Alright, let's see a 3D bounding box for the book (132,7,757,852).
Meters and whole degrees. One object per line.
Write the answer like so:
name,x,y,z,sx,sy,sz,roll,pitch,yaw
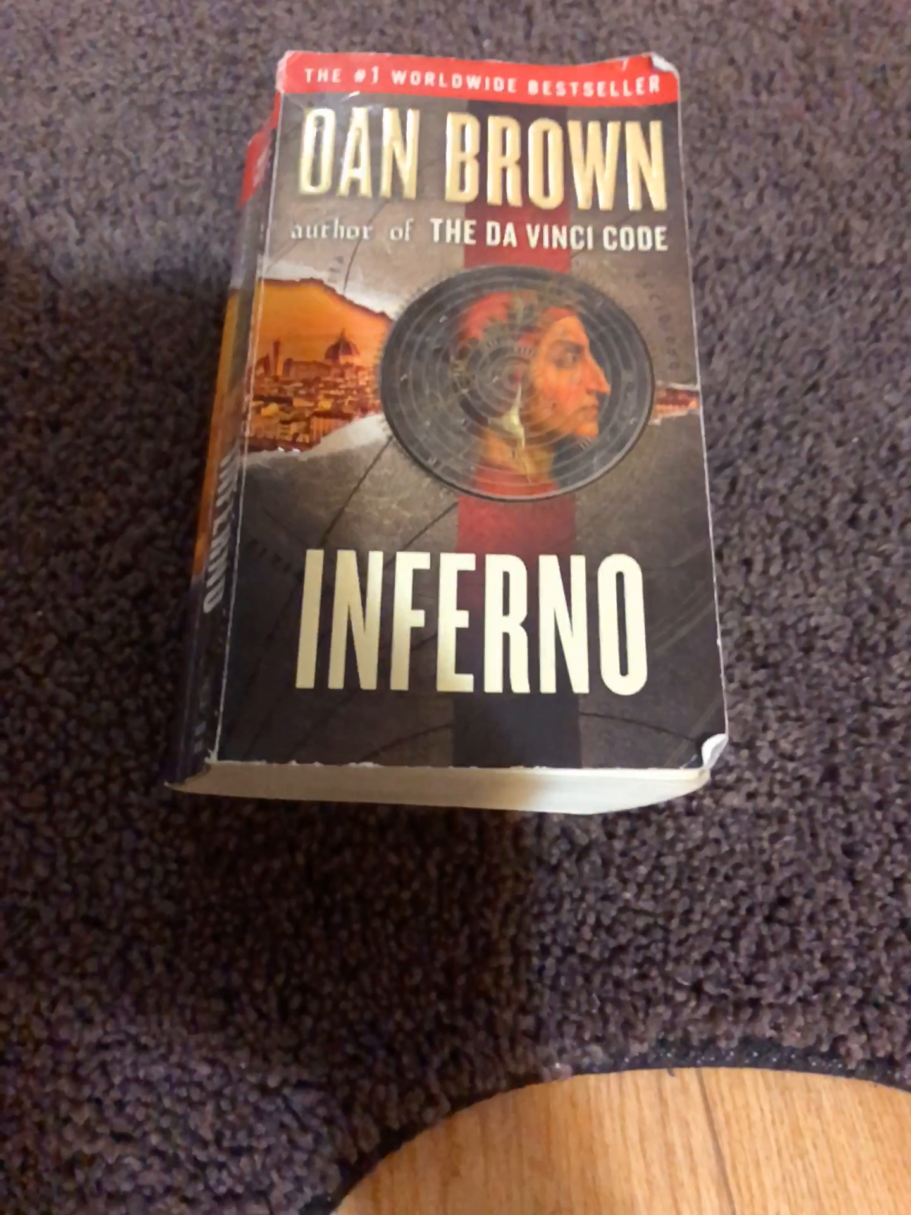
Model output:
book,-0.001,-0.046,0.252,0.120,0.050,0.200,3,71,-4
